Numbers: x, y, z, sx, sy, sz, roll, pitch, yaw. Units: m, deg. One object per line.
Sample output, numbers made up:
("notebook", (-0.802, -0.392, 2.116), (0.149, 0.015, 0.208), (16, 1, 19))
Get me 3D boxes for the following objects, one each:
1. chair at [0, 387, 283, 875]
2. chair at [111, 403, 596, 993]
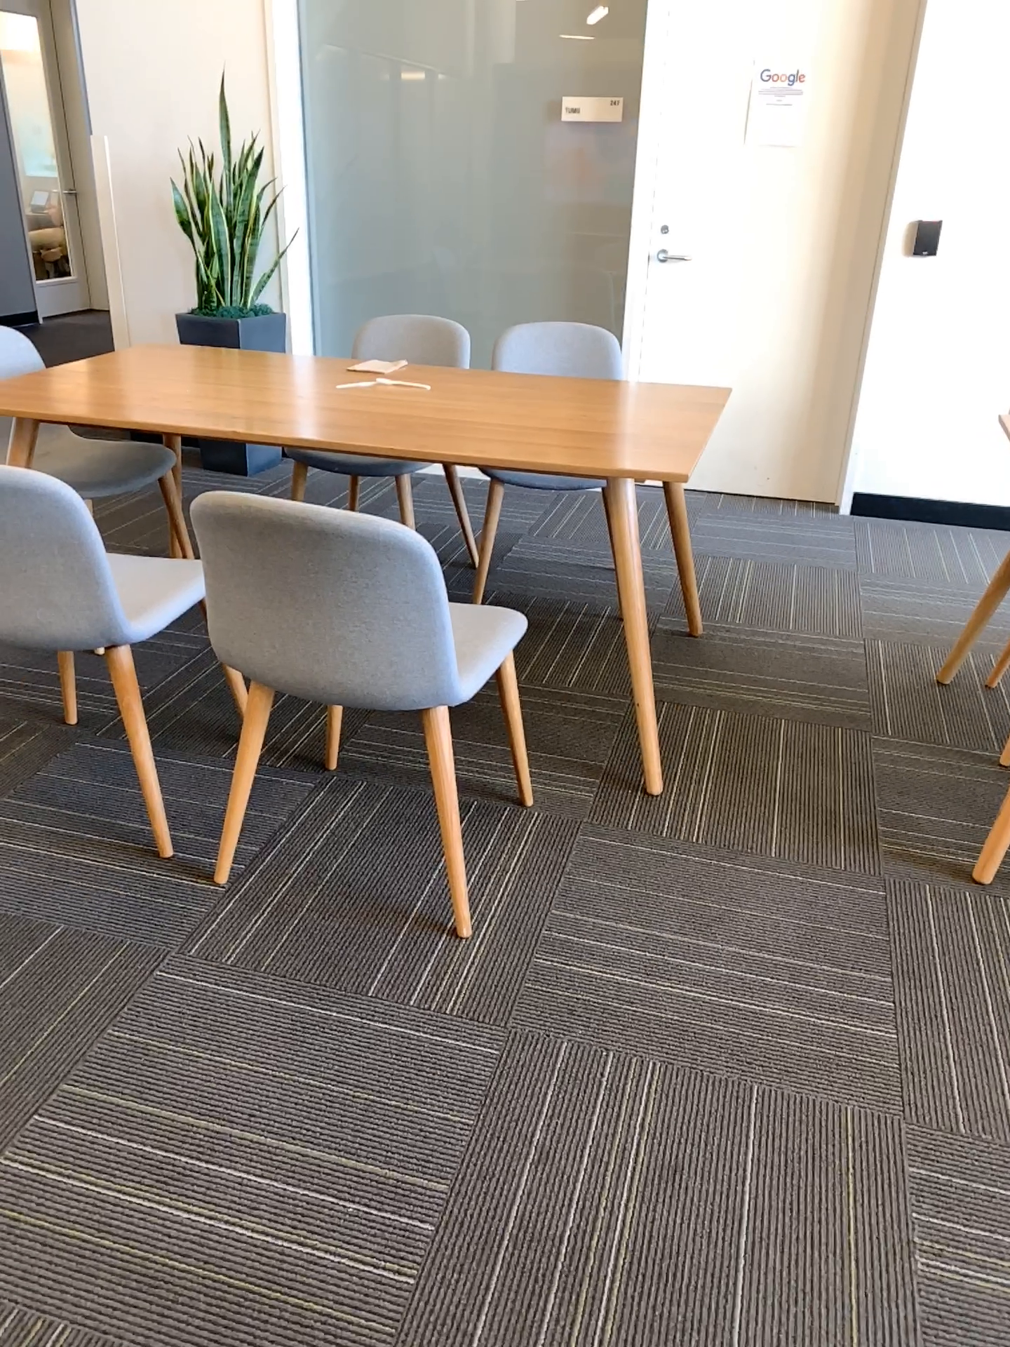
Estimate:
("chair", (-0.853, -0.117, 2.092), (0.570, 0.776, 0.533), (8, 26, 12))
("chair", (-0.220, -0.001, 1.848), (0.591, 0.795, 0.573), (10, 27, 16))
